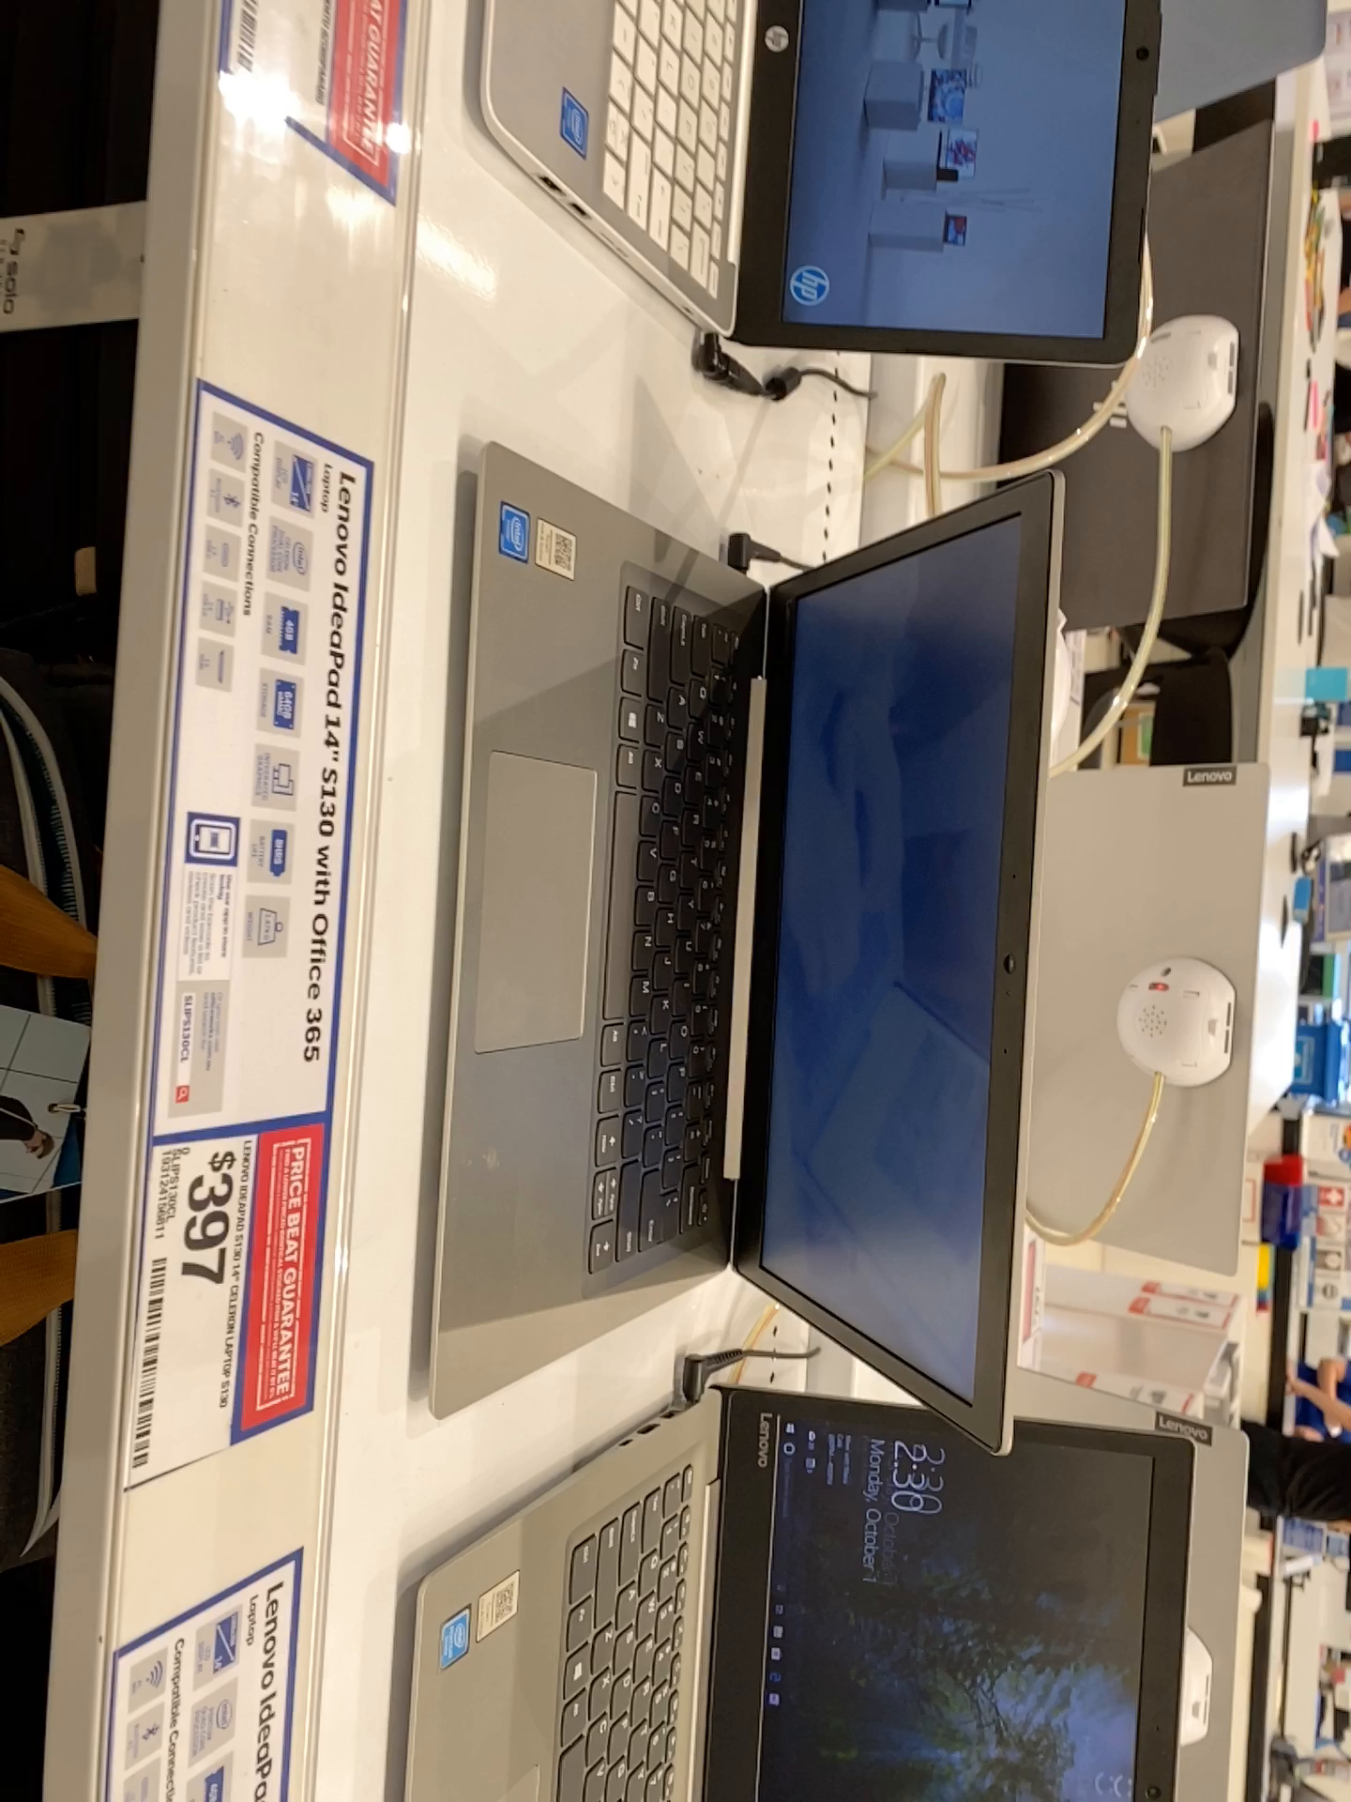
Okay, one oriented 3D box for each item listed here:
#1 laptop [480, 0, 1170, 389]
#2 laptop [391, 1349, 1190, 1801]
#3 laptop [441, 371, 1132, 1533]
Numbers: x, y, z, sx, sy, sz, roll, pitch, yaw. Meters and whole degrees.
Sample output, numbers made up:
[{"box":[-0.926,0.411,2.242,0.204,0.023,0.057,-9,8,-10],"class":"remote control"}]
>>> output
[{"box":[0.083,-0.407,0.549,0.286,0.155,0.304,3,89,-61],"class":"laptop"},{"box":[0.072,0.403,0.569,0.311,0.215,0.329,4,90,-63],"class":"laptop"},{"box":[0.058,0.014,0.533,0.231,0.170,0.329,1,93,-63],"class":"laptop"}]
